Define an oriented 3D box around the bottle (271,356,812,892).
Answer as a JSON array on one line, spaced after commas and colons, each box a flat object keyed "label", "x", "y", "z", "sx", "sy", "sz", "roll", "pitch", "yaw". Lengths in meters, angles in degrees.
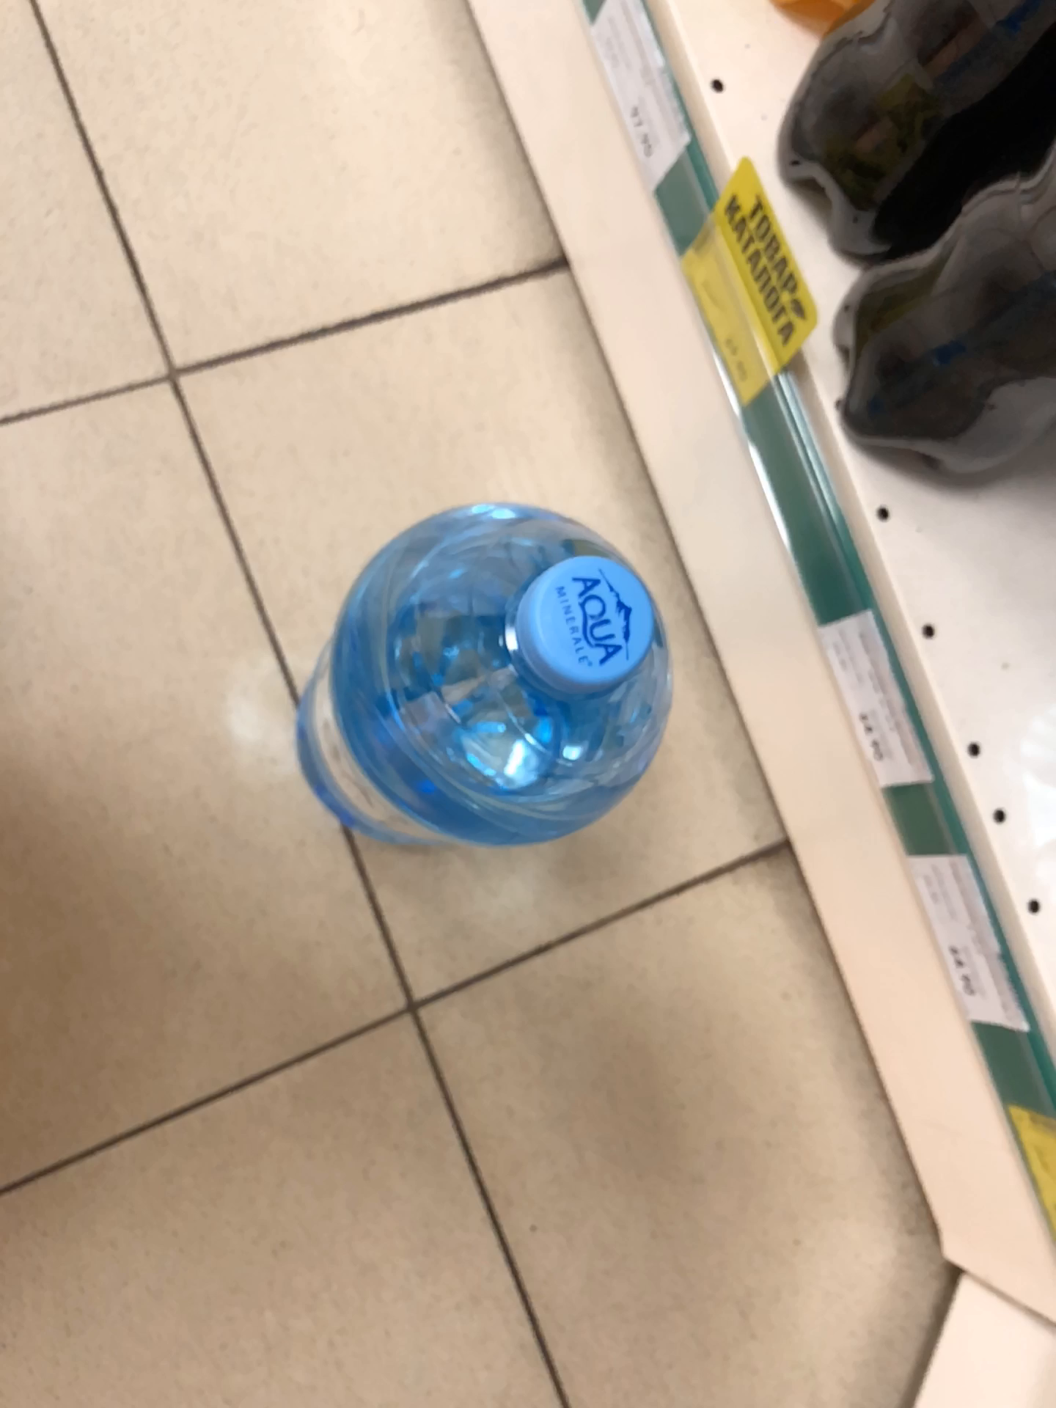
[{"label": "bottle", "x": -0.029, "y": -0.003, "z": 0.414, "sx": 0.088, "sy": 0.324, "sz": 0.105, "roll": -11, "pitch": 87, "yaw": -16}]
